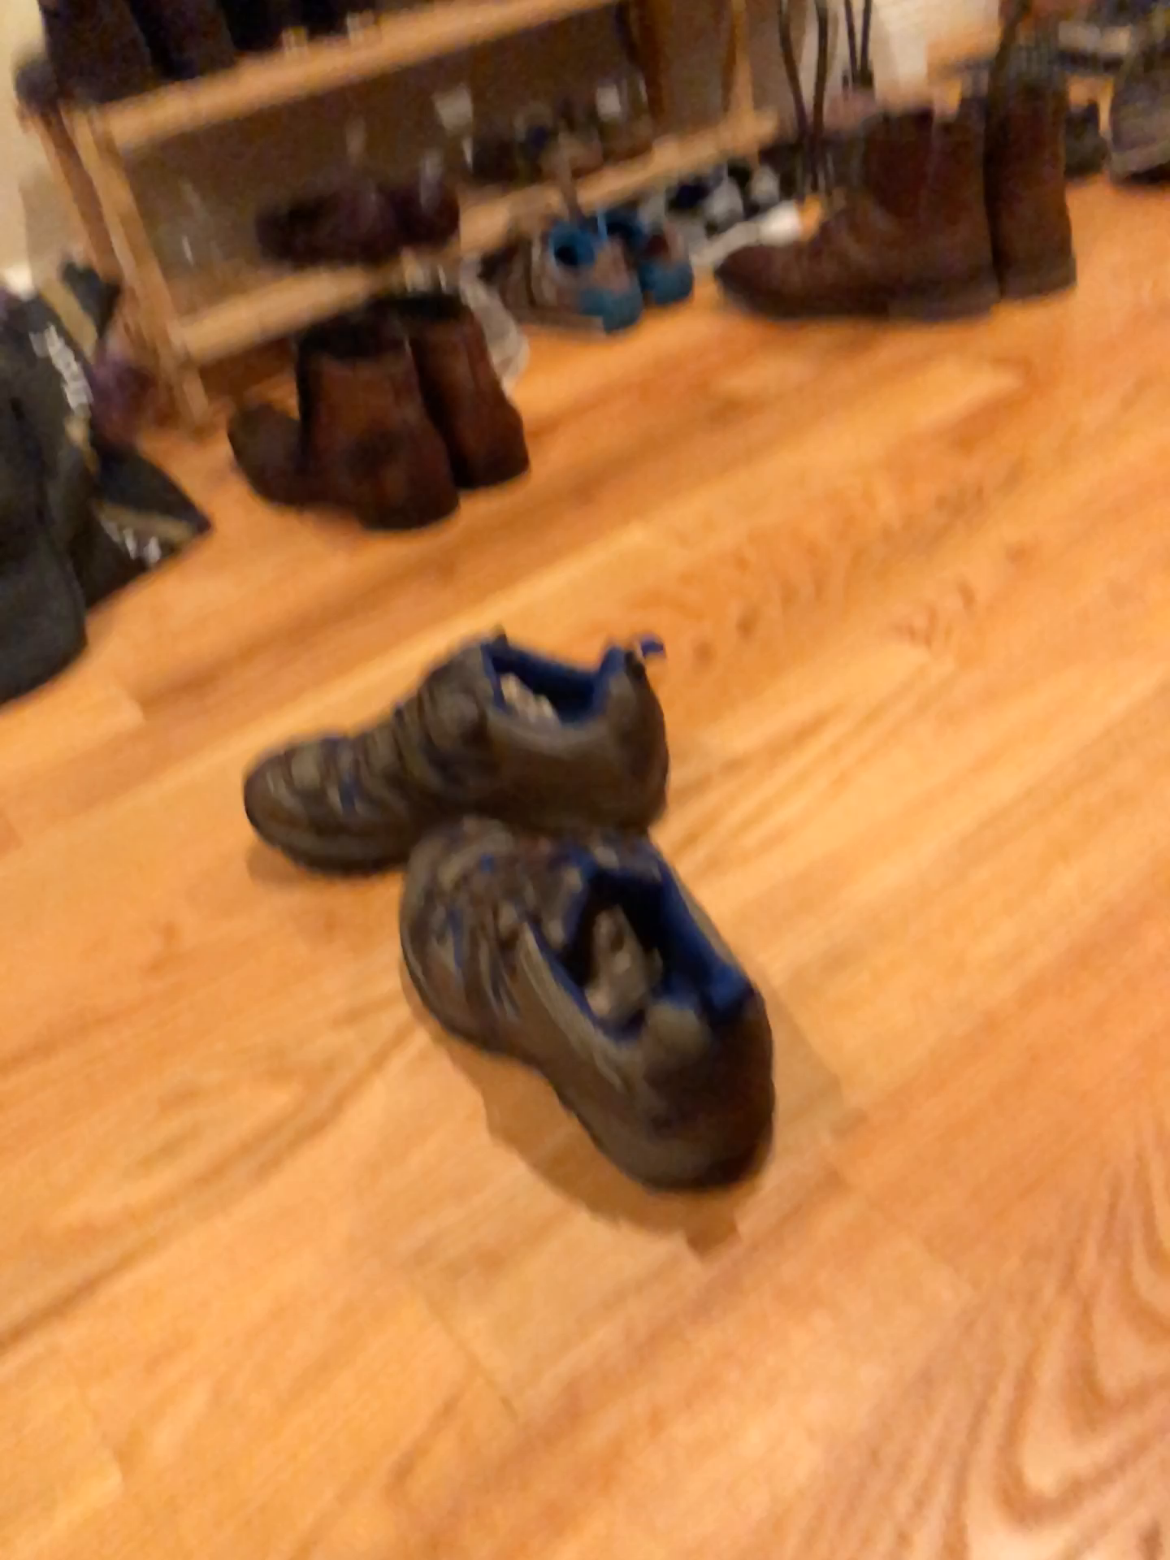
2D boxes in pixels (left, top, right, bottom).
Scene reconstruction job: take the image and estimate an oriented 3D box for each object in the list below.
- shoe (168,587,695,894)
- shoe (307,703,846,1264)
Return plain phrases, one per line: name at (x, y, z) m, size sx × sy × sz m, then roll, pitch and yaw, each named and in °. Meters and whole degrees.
shoe at (-0.074, -0.020, 0.688) m, size 0.251 × 0.094 × 0.097 m, roll -7°, pitch 37°, yaw 7°
shoe at (-0.011, 0.074, 0.563) m, size 0.095 × 0.106 × 0.241 m, roll -32°, pitch 41°, yaw -24°
